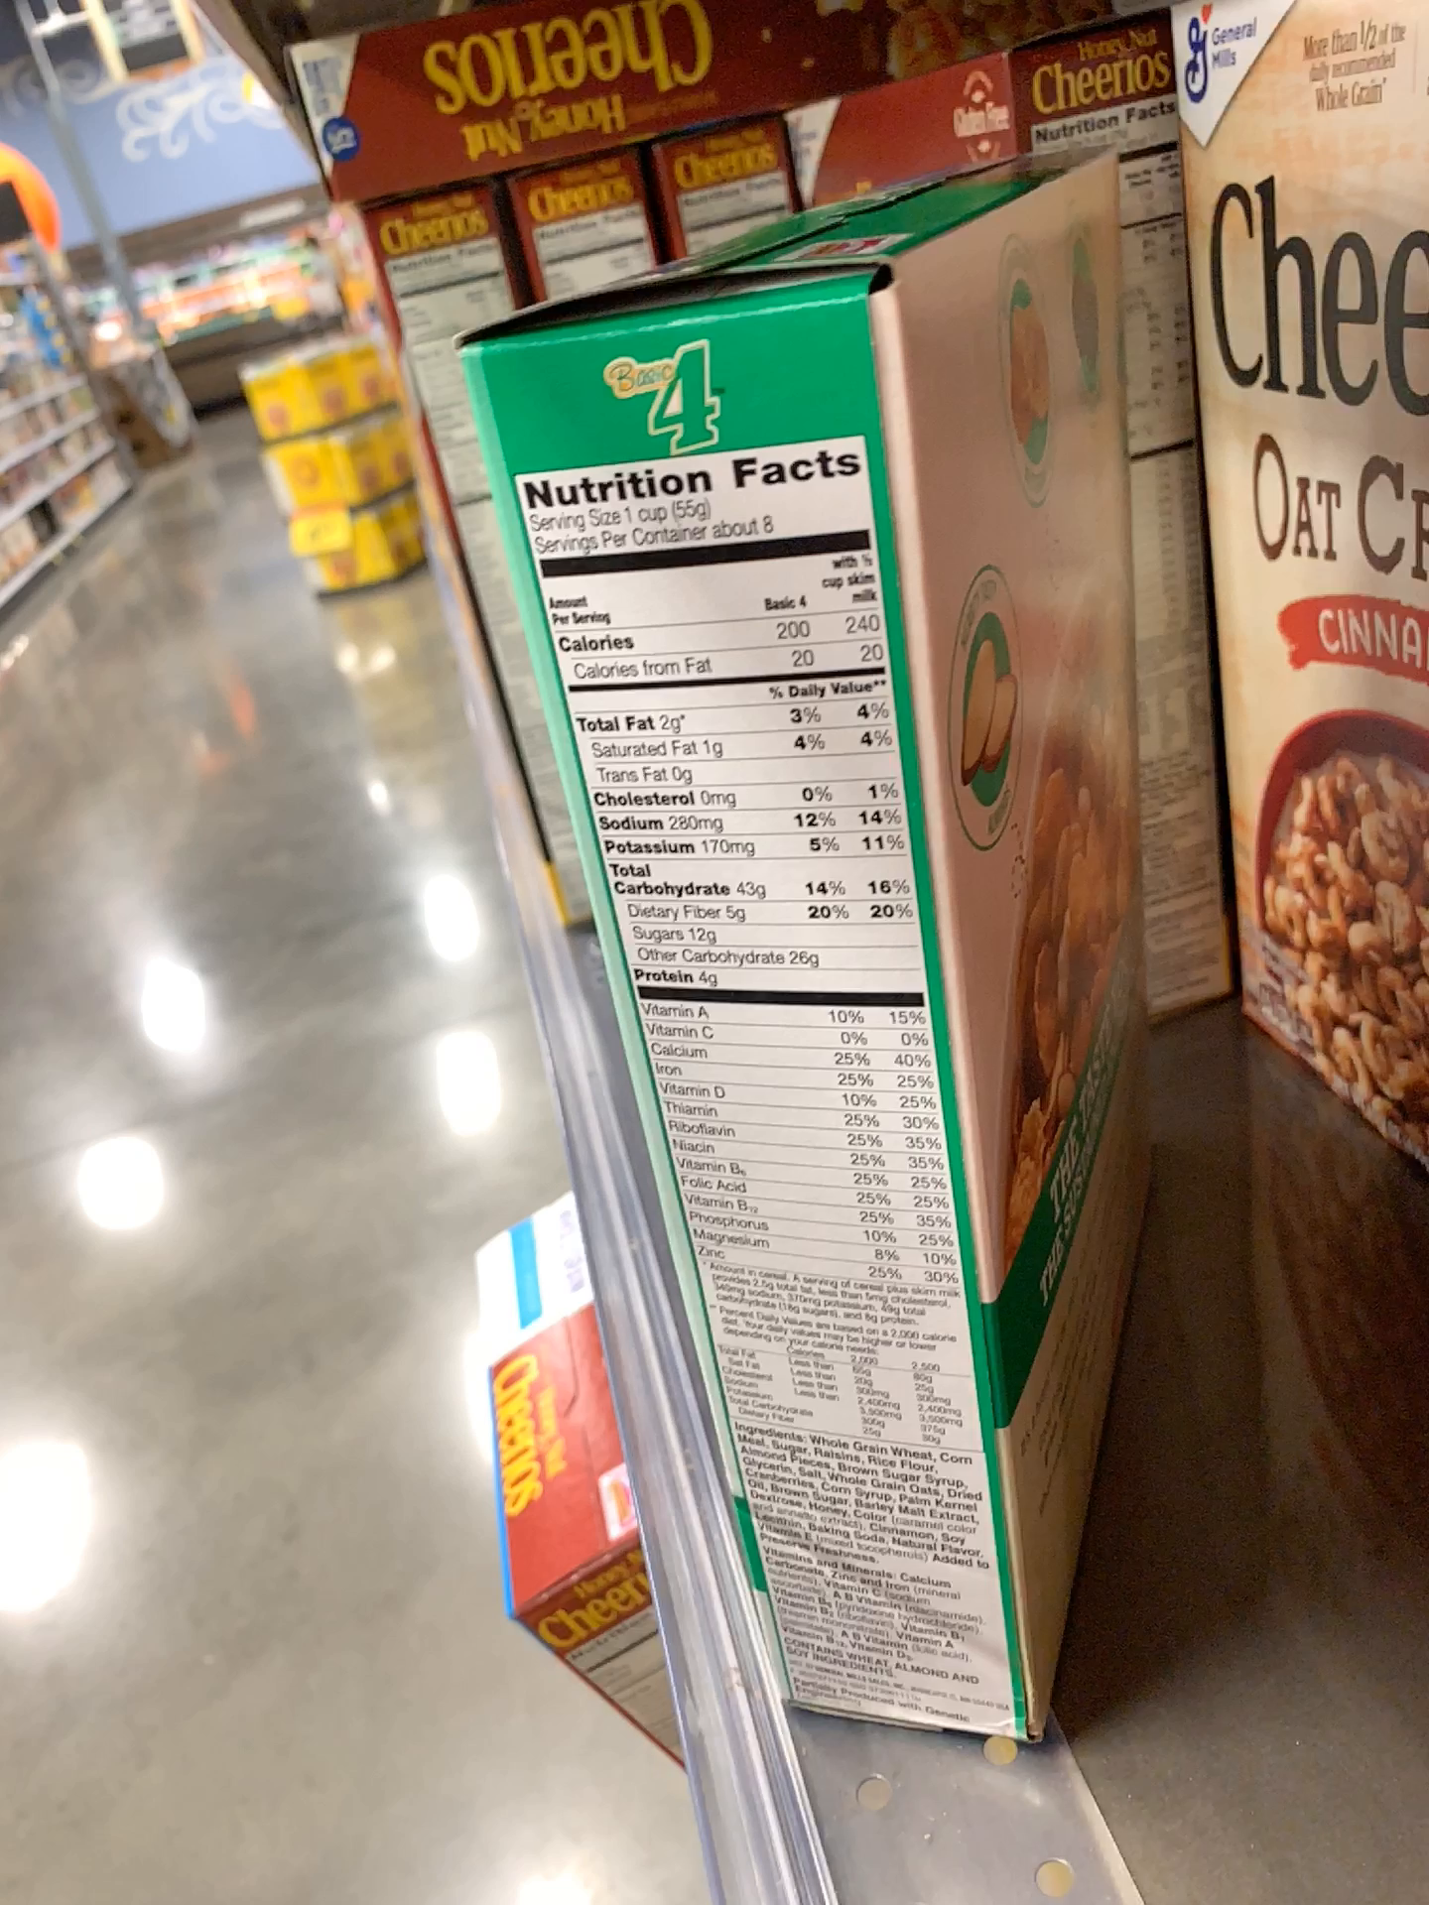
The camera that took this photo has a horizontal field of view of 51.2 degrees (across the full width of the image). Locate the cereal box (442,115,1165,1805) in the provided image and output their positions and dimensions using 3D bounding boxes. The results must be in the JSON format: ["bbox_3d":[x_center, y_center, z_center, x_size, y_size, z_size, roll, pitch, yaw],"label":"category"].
[{"bbox_3d":[0.049,-0.010,0.297,0.050,0.259,0.201,2,31,23],"label":"cereal box"}]
